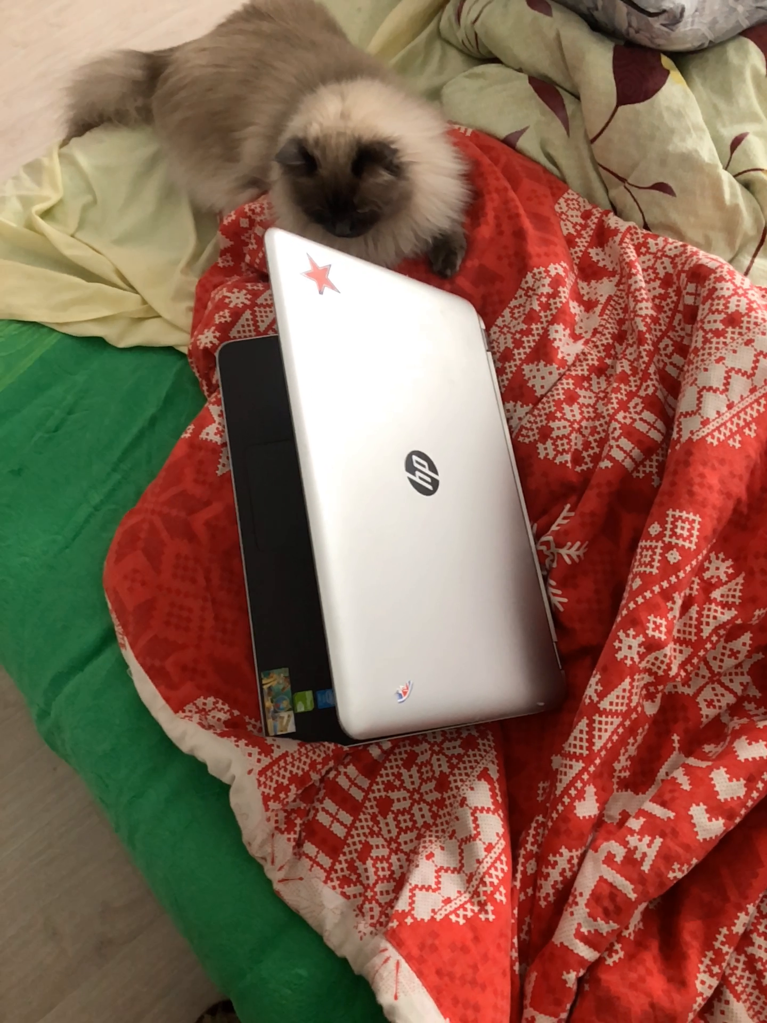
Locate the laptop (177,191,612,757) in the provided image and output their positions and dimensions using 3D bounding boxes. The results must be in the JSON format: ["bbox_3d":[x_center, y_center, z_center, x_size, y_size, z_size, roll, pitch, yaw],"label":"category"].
[{"bbox_3d":[-0.004,-0.028,0.743,0.276,0.176,0.414,-9,72,-3],"label":"laptop"}]
